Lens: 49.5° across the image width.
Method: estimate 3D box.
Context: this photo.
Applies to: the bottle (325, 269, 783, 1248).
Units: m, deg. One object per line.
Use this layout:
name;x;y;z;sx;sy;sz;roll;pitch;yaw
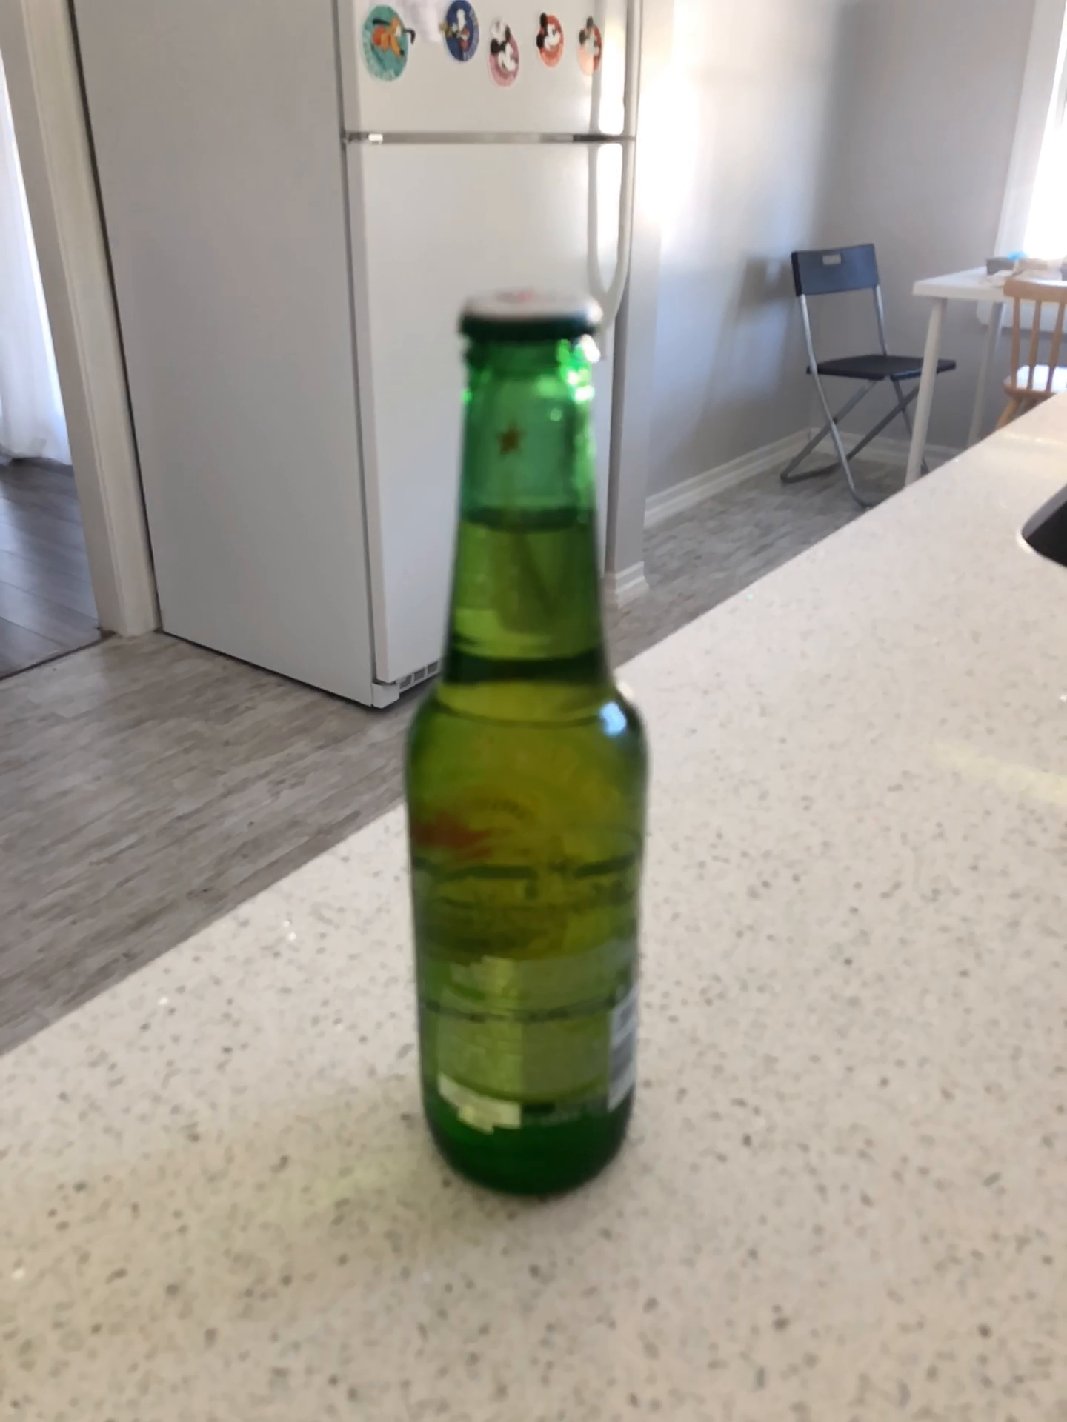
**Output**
bottle;-0.001;0.014;0.266;0.070;0.209;0.070;0;26;0
